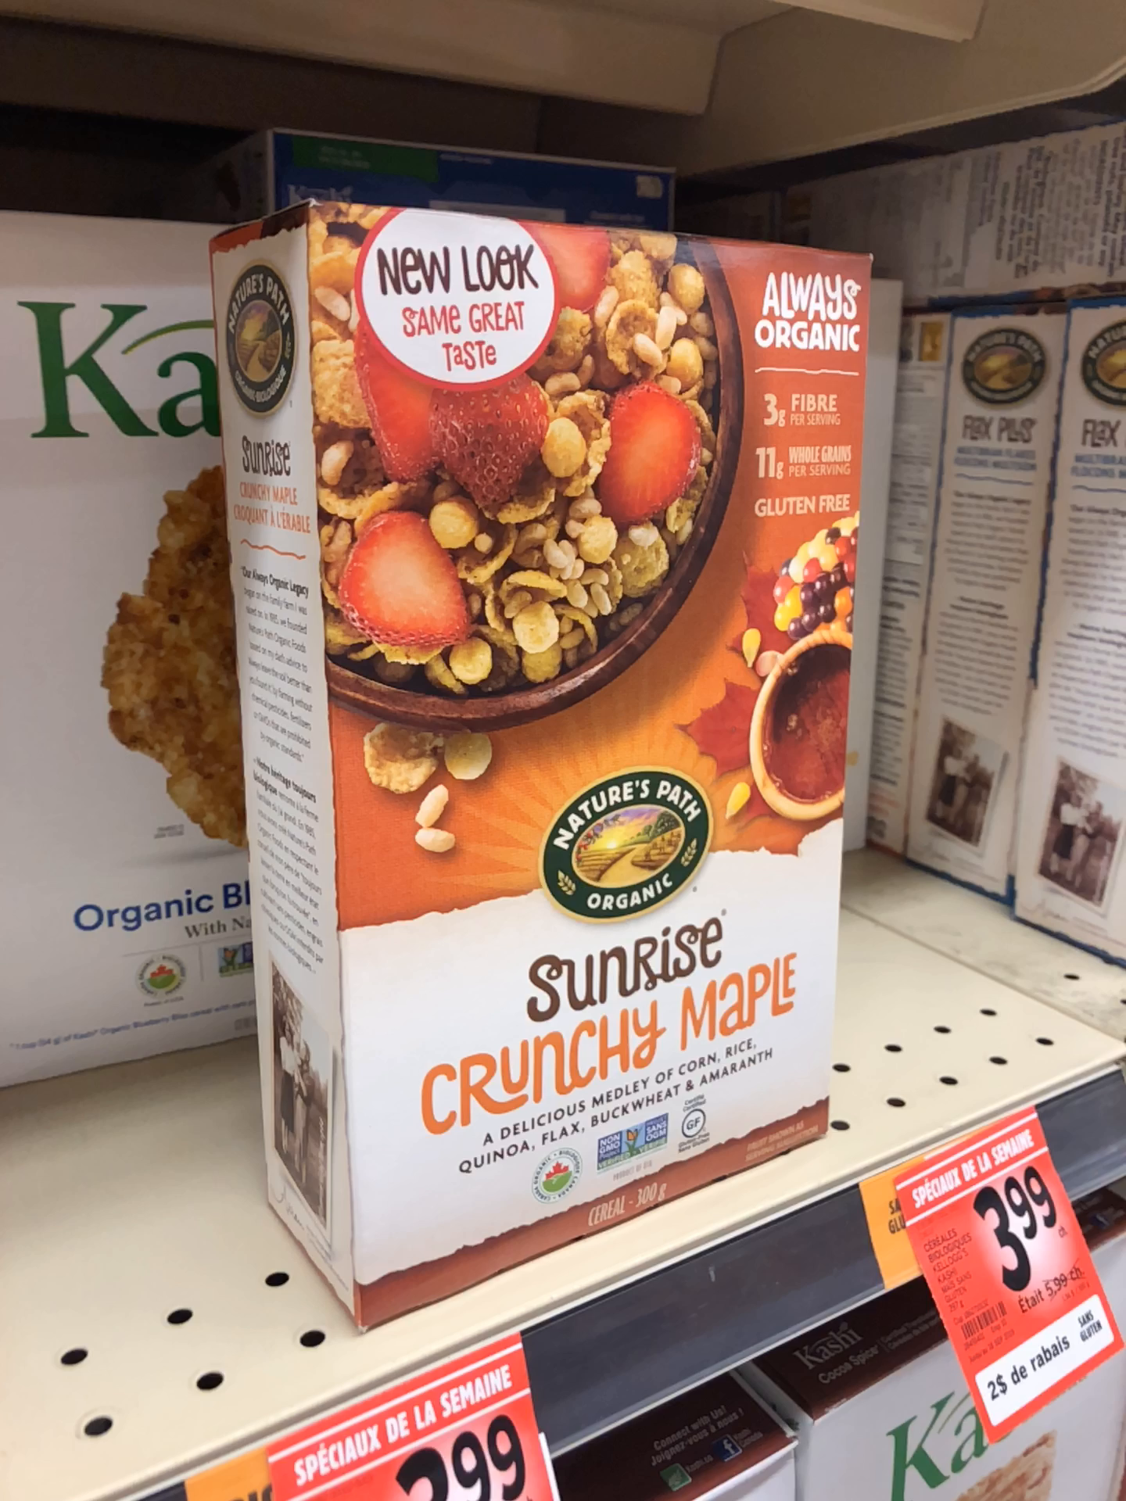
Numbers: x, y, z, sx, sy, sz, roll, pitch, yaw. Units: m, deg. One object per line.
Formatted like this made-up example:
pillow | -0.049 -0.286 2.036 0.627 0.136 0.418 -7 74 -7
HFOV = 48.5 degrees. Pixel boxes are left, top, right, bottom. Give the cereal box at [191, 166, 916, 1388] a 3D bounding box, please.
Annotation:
cereal box | 0.005 0.002 0.335 0.170 0.269 0.060 -10 17 -32
